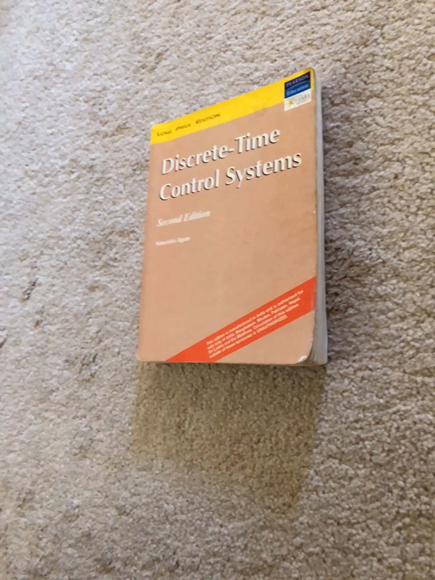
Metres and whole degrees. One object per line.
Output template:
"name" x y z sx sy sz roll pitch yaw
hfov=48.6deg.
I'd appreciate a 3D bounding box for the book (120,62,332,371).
"book" 0.002 -0.051 0.420 0.187 0.035 0.238 -6 77 34
